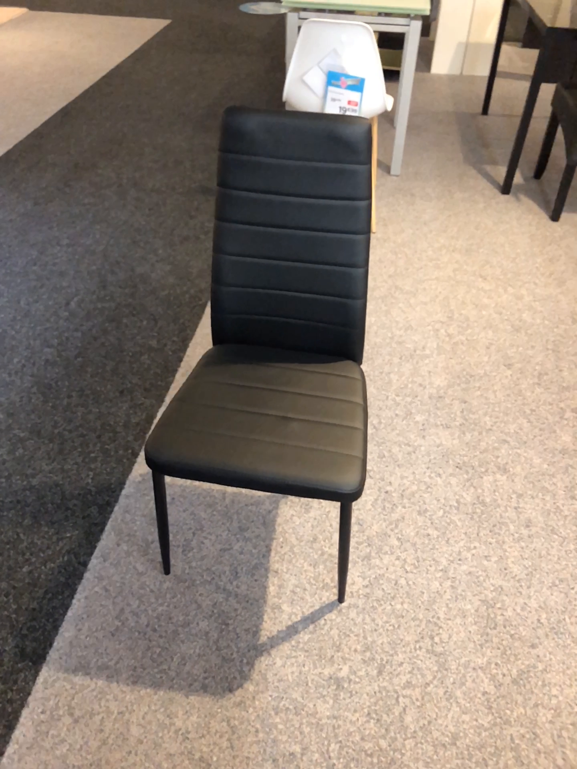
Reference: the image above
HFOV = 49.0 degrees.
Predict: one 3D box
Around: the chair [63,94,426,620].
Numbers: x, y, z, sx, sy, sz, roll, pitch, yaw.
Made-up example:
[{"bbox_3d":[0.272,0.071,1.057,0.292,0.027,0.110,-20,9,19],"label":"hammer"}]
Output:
[{"bbox_3d":[-0.038,-0.013,1.306,0.470,0.934,0.473,8,42,7],"label":"chair"}]
